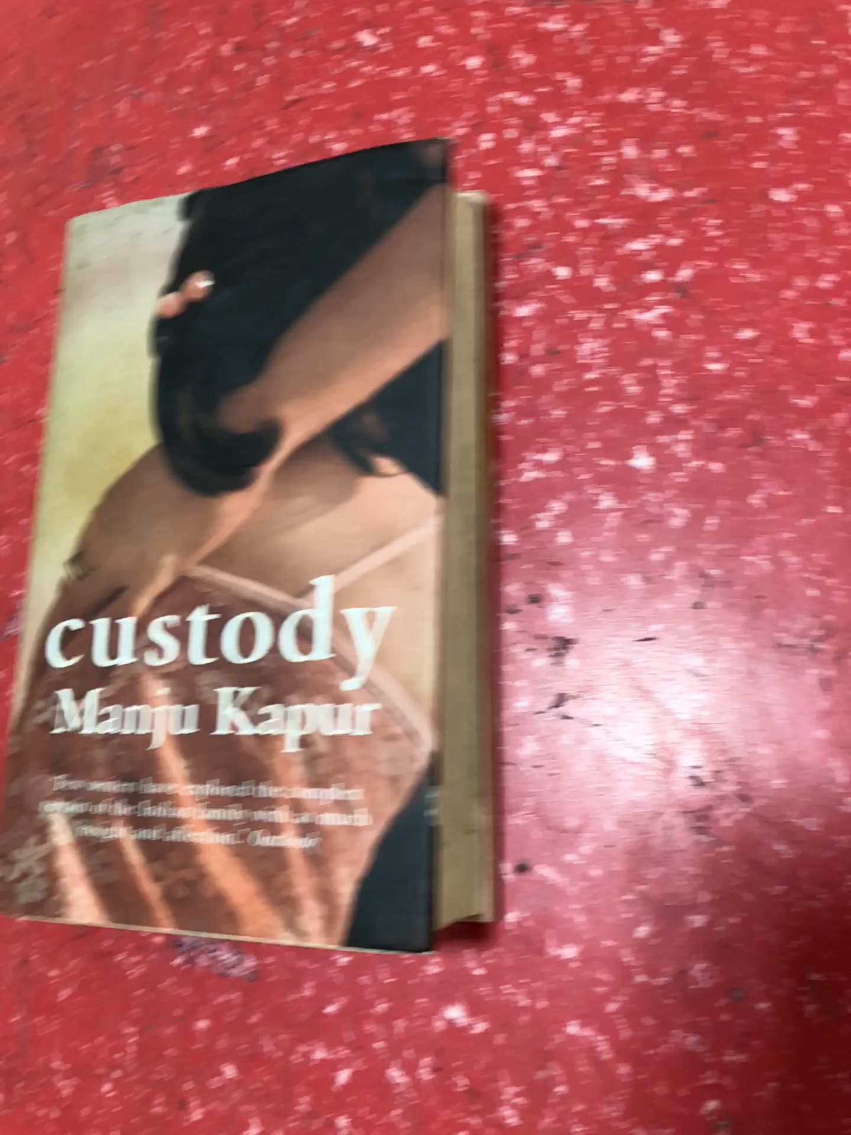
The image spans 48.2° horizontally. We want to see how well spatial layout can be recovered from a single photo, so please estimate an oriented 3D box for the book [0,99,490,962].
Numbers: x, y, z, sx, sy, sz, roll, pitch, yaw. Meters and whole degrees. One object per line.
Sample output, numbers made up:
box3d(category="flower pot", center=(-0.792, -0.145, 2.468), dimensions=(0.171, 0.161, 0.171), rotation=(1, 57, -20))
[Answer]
box3d(category="book", center=(-0.055, -0.011, 0.276), dimensions=(0.140, 0.040, 0.220), rotation=(-4, 75, 20))
